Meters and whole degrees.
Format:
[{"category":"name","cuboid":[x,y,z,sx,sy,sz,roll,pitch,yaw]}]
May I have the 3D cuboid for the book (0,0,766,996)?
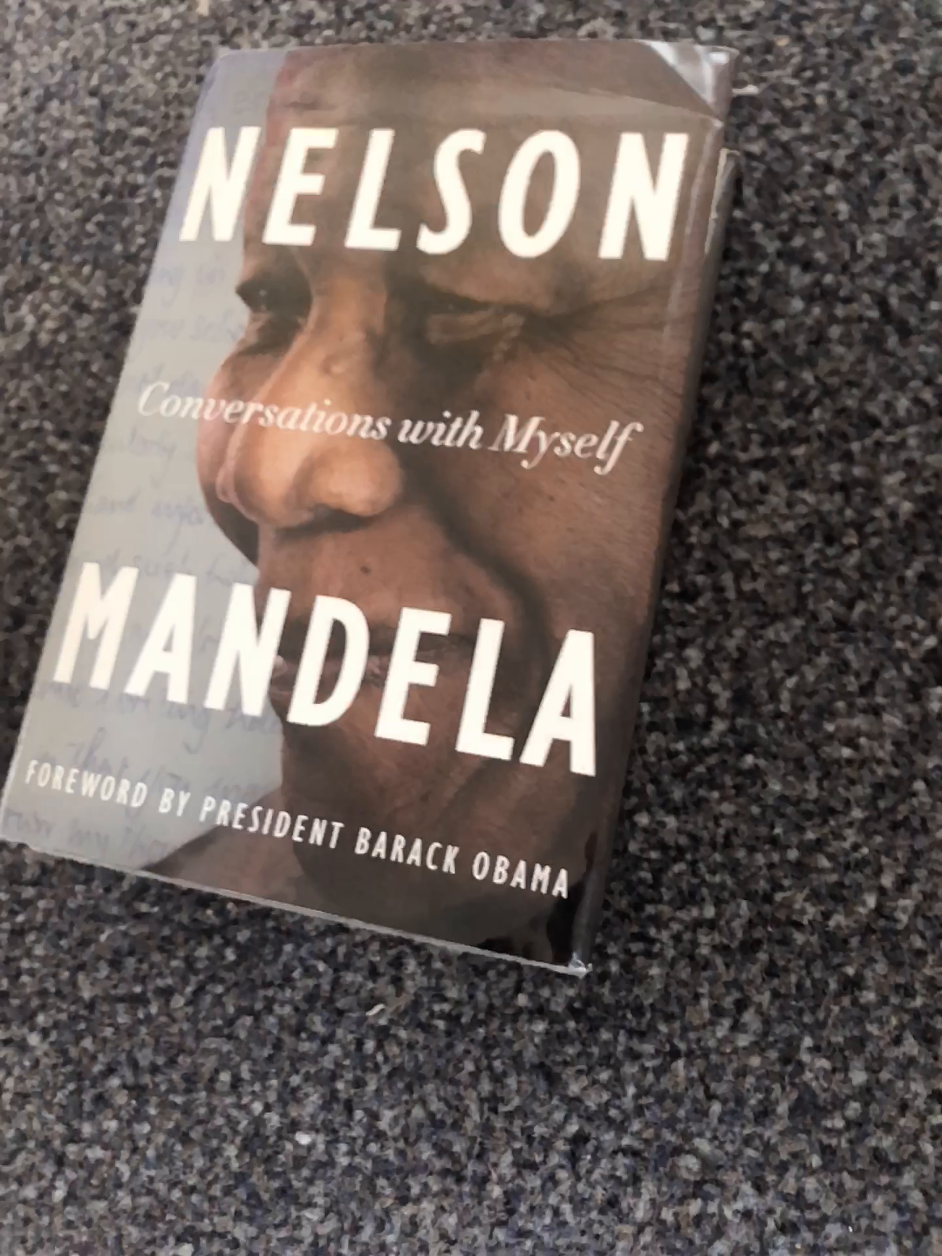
[{"category":"book","cuboid":[-0.028,-0.052,0.284,0.170,0.050,0.250,9,79,15]}]
